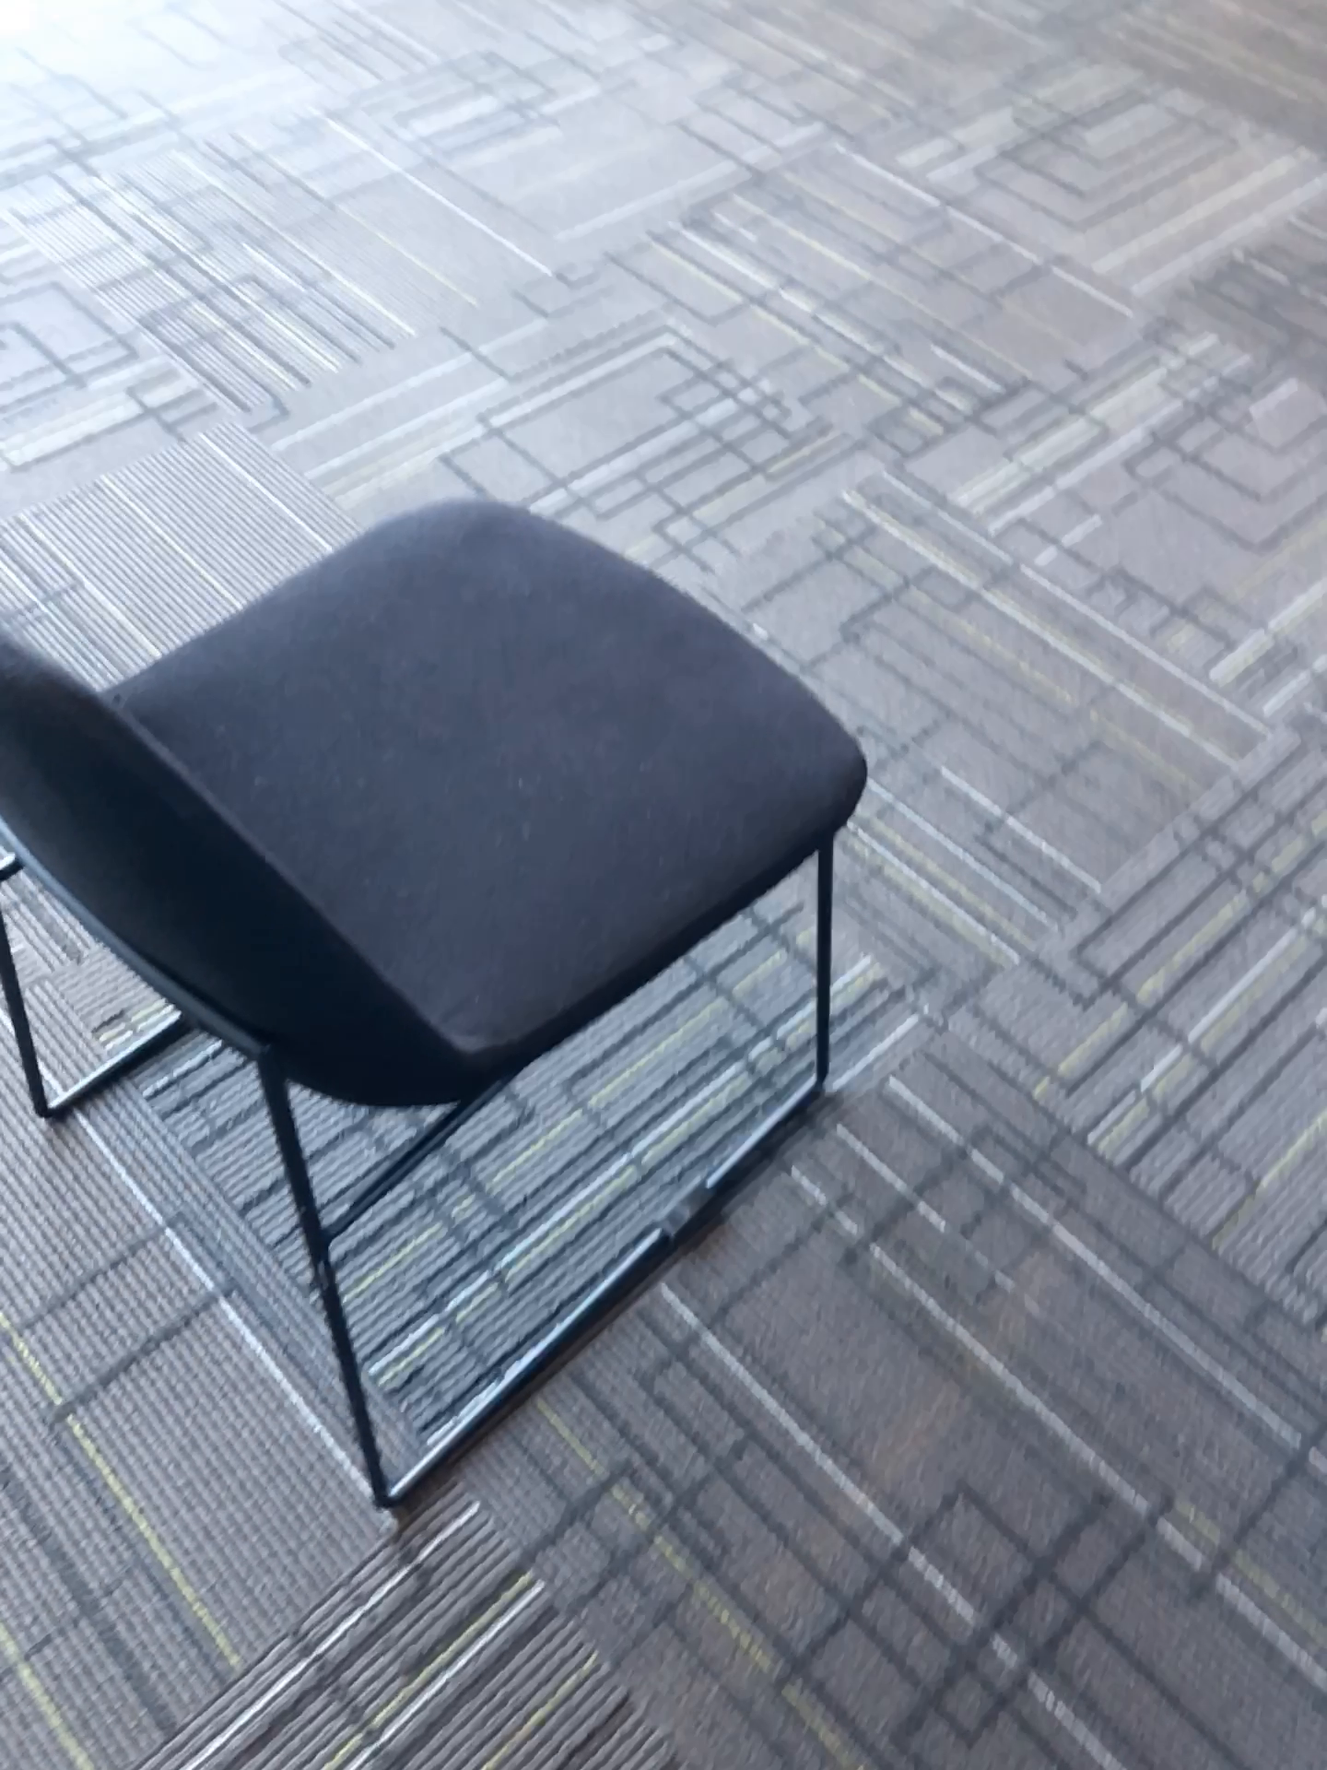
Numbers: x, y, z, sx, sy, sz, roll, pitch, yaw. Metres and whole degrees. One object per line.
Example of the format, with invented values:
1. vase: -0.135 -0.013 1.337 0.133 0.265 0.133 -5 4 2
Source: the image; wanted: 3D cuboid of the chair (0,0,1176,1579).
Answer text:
1. chair: -0.197 -0.080 0.915 0.561 0.768 0.551 39 60 23
